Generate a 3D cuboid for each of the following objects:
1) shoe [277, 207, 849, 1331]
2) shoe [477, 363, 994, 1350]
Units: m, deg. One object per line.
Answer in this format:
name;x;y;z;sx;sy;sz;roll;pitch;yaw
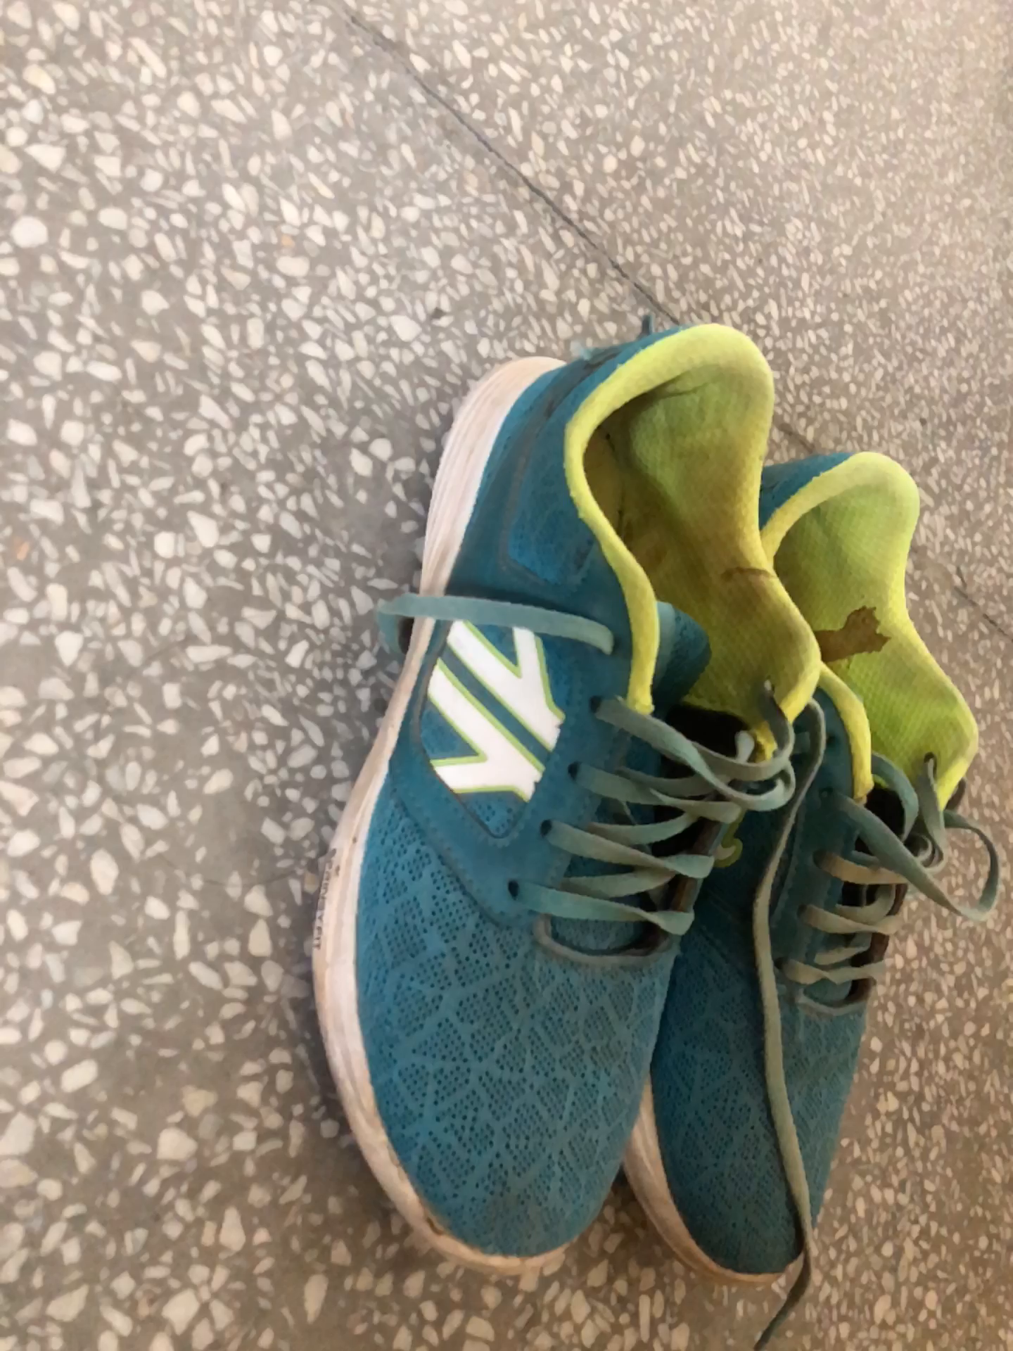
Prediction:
shoe;0.023;0.020;0.289;0.090;0.080;0.240;21;67;-36
shoe;0.076;0.050;0.343;0.100;0.080;0.250;19;74;-36
